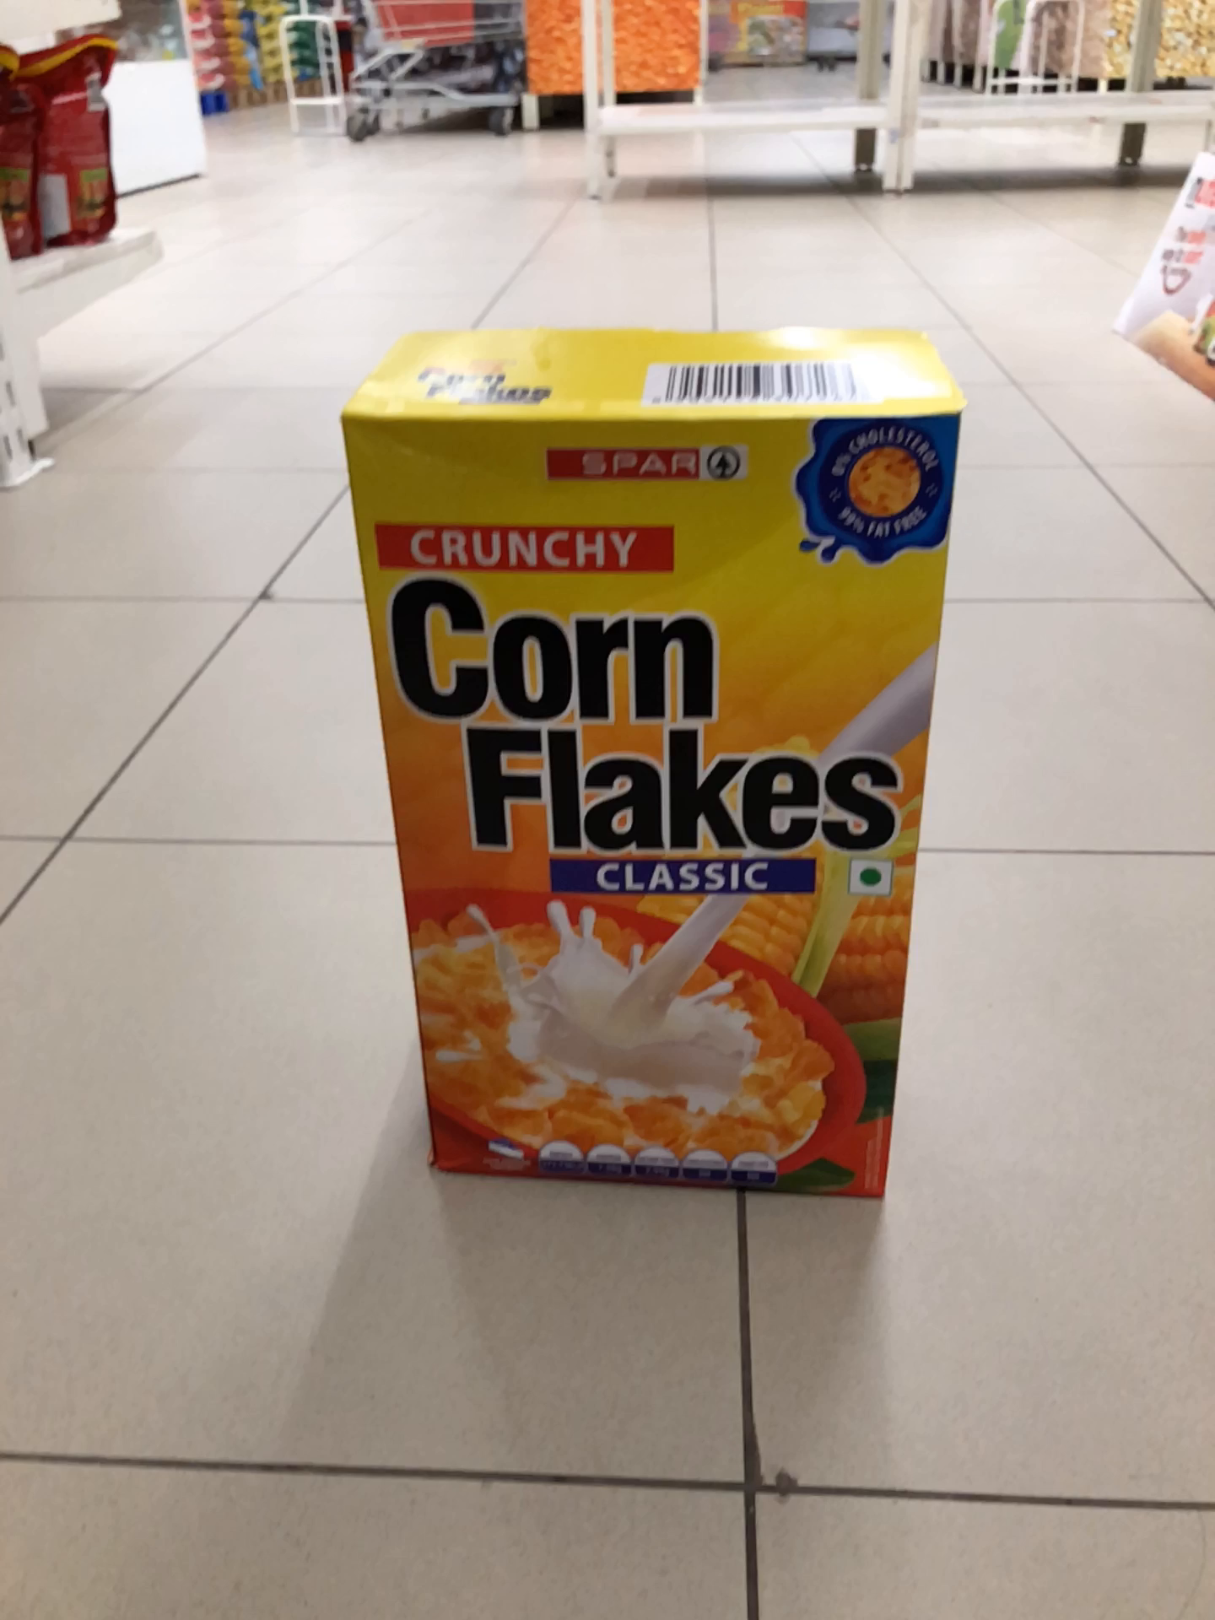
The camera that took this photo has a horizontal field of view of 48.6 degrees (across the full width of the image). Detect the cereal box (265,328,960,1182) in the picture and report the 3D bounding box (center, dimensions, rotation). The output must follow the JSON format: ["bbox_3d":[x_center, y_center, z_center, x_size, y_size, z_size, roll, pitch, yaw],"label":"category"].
[{"bbox_3d":[0.007,-0.013,0.501,0.200,0.298,0.101,1,29,5],"label":"cereal box"}]
